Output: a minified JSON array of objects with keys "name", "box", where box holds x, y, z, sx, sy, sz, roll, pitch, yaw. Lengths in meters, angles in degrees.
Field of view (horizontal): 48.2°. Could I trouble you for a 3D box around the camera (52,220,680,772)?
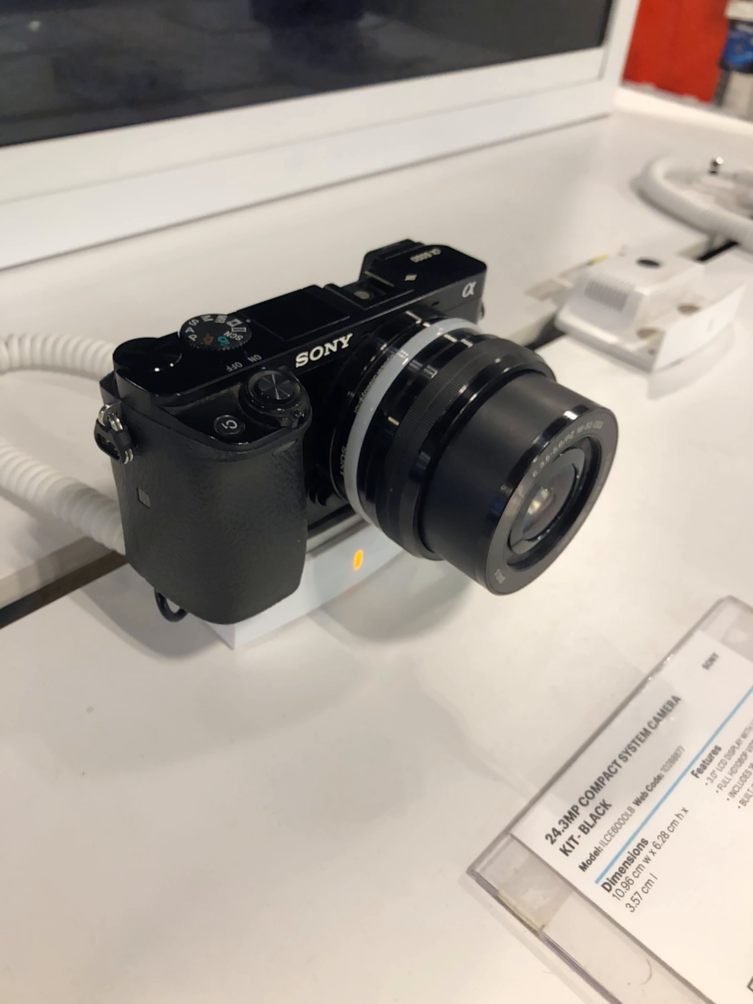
[{"name":"camera","box":[0.000,-0.016,0.238,0.100,0.070,0.130,33,46,29]}]
